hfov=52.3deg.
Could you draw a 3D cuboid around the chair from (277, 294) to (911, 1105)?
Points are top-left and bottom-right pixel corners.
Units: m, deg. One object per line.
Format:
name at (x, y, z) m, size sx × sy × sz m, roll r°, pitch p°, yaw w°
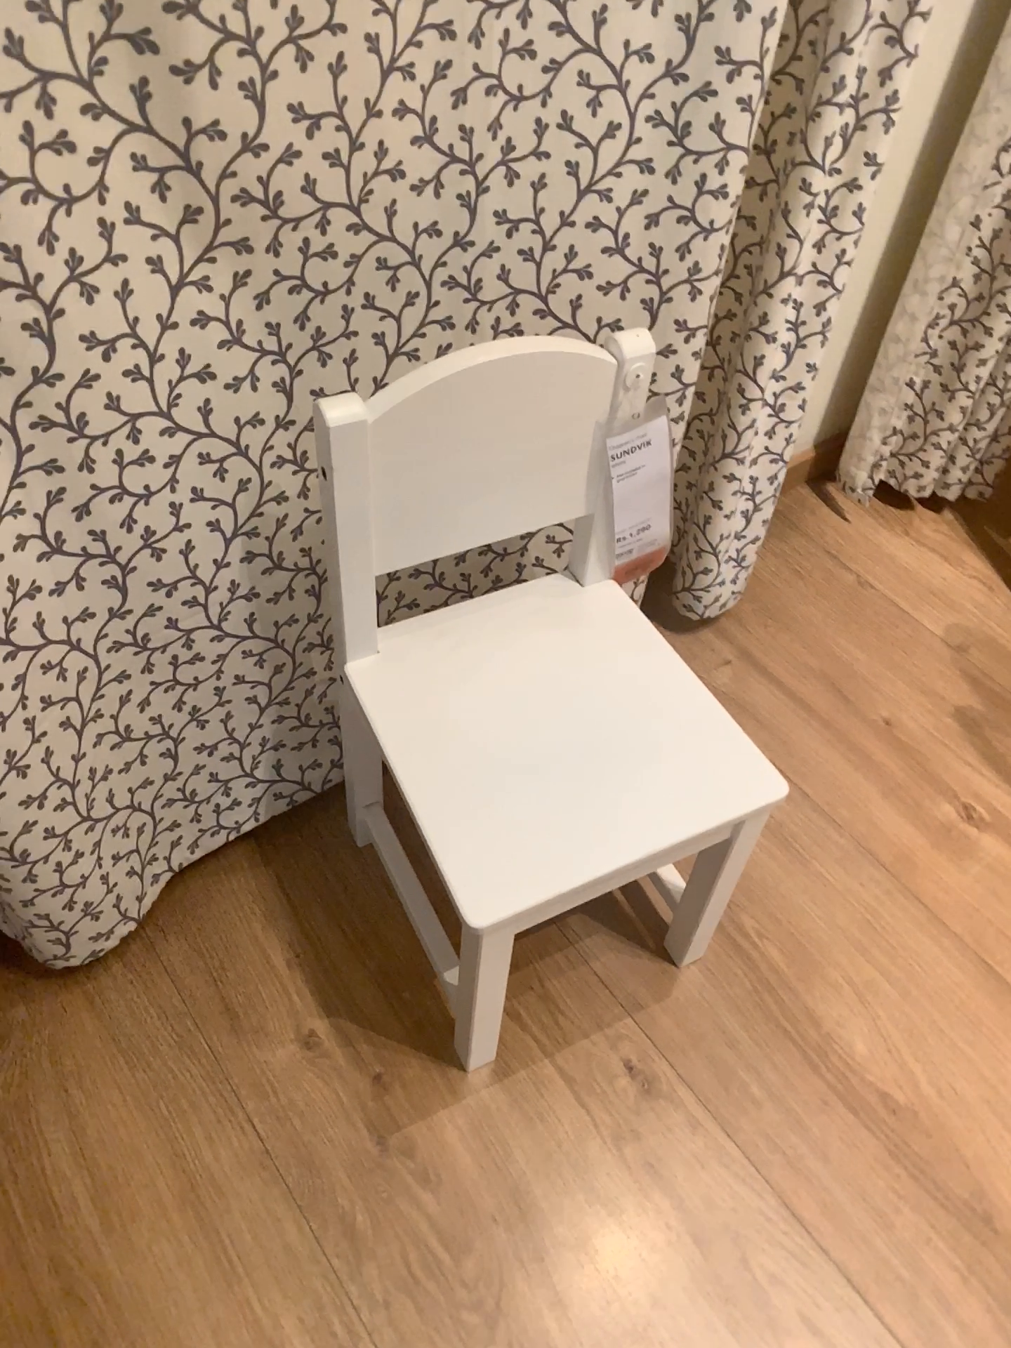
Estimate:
chair at (0.024, 0.054, 0.830) m, size 0.270 × 0.568 × 0.291 m, roll -20°, pitch 53°, yaw -21°
